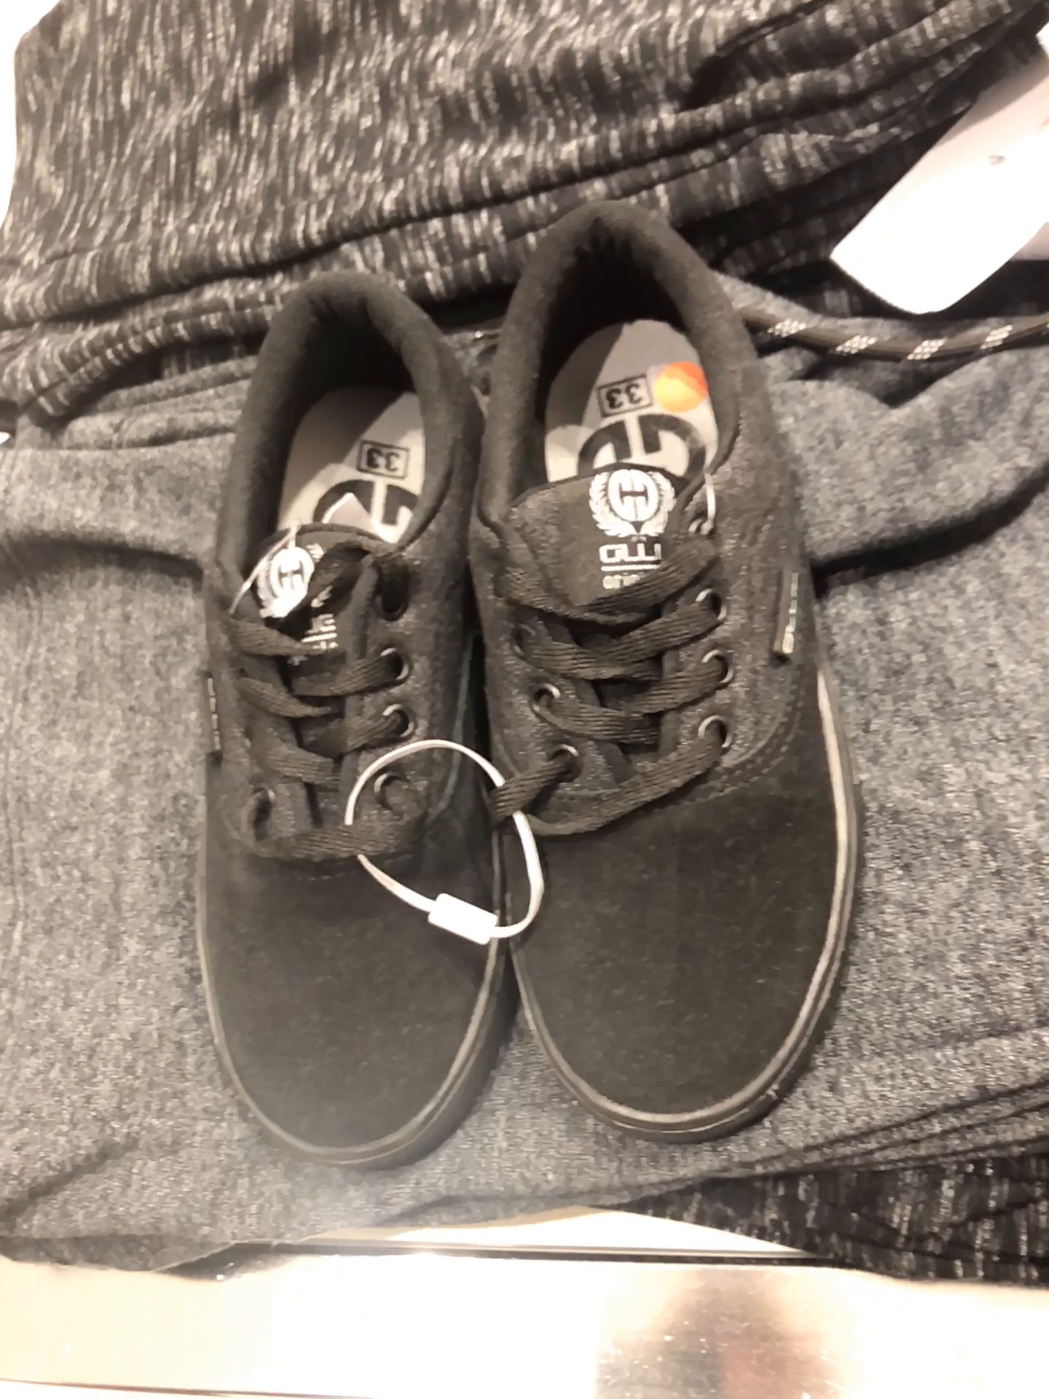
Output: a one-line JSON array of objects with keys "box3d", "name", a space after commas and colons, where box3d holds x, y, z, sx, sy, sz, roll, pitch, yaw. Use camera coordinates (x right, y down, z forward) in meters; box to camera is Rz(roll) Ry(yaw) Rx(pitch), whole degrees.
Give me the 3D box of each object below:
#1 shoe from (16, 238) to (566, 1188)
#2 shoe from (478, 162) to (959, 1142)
[{"box3d": [-0.042, 0.001, 0.296, 0.090, 0.080, 0.221, 0, 68, 8], "name": "shoe"}, {"box3d": [0.039, -0.015, 0.308, 0.090, 0.080, 0.241, -4, 67, 6], "name": "shoe"}]
